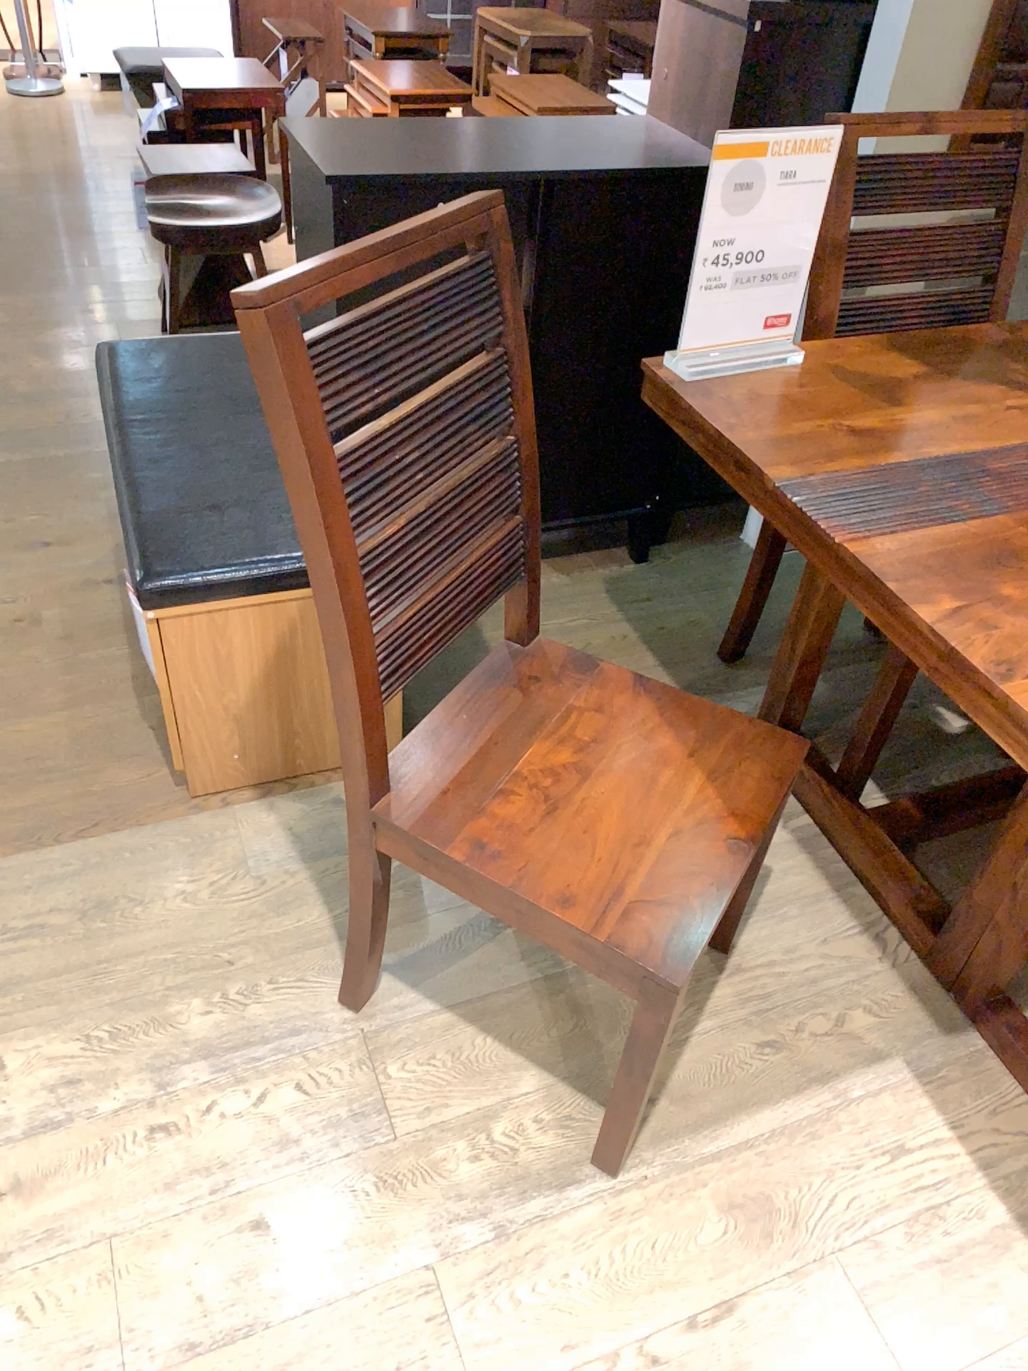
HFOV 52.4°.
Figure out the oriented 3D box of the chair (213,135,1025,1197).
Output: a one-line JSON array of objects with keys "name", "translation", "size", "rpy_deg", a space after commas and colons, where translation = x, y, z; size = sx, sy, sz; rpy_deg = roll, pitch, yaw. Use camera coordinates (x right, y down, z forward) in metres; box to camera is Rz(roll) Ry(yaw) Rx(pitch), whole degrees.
[{"name": "chair", "translation": [0.089, 0.007, 1.213], "size": [0.530, 0.996, 0.522], "rpy_deg": [22, 43, 19]}]
